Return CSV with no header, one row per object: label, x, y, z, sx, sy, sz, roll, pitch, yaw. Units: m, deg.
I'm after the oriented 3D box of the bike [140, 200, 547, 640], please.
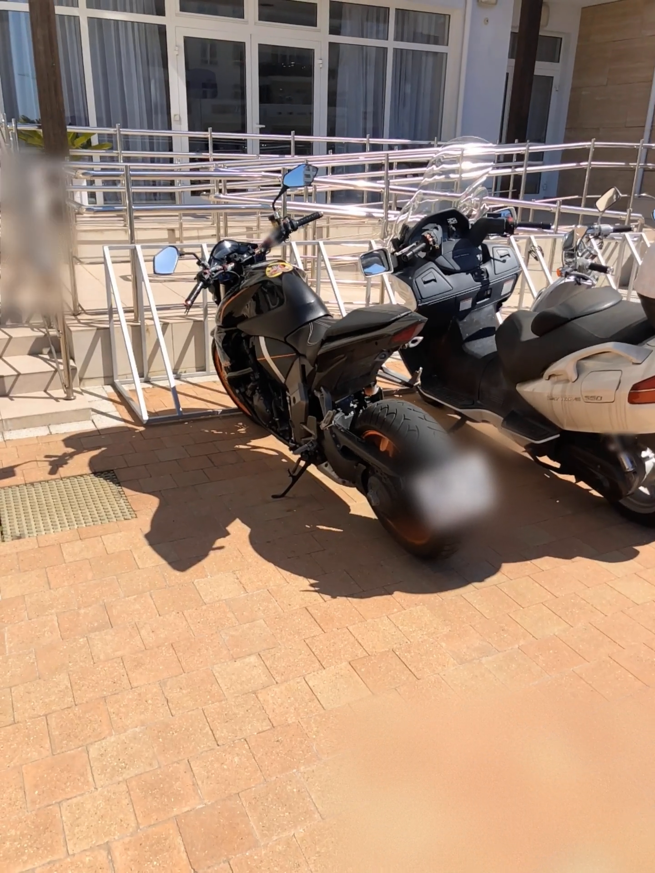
bike,-0.125,-0.315,3.020,0.796,1.170,1.957,-9,24,-26
